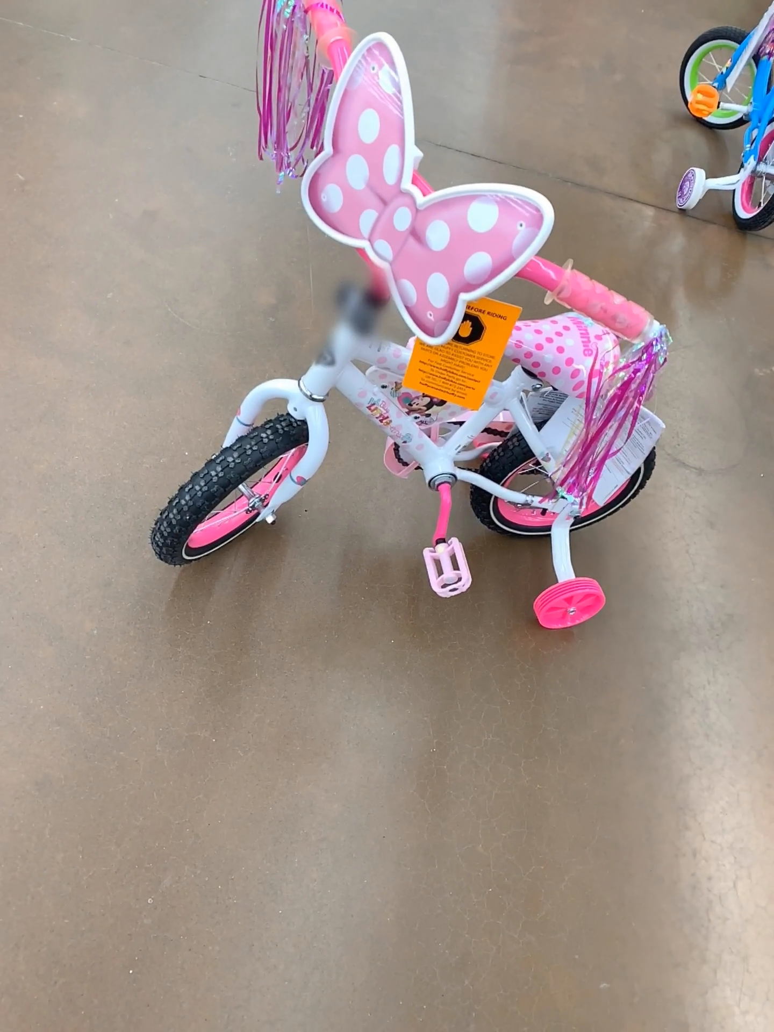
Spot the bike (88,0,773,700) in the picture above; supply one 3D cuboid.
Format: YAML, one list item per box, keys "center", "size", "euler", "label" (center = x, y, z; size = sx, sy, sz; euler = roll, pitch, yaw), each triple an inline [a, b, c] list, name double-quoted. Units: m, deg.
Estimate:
- center: [0.067, -0.193, 1.007]
  size: [0.725, 0.648, 0.502]
  euler: [-7, 55, -18]
  label: "bike"
